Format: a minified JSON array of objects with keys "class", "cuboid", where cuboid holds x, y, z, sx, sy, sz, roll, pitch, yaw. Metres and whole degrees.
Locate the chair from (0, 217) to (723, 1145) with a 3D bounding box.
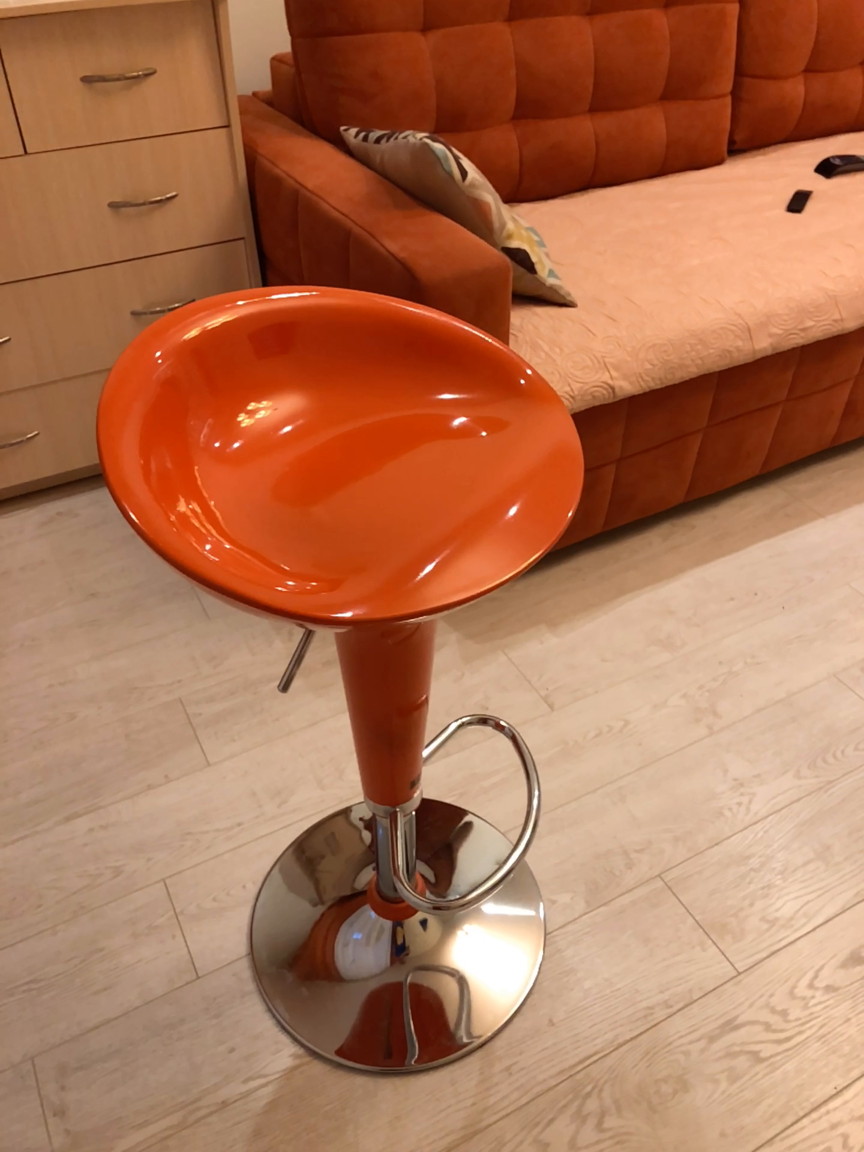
[{"class":"chair","cuboid":[-0.020,0.116,0.910,0.390,0.734,0.403,15,42,18]}]
